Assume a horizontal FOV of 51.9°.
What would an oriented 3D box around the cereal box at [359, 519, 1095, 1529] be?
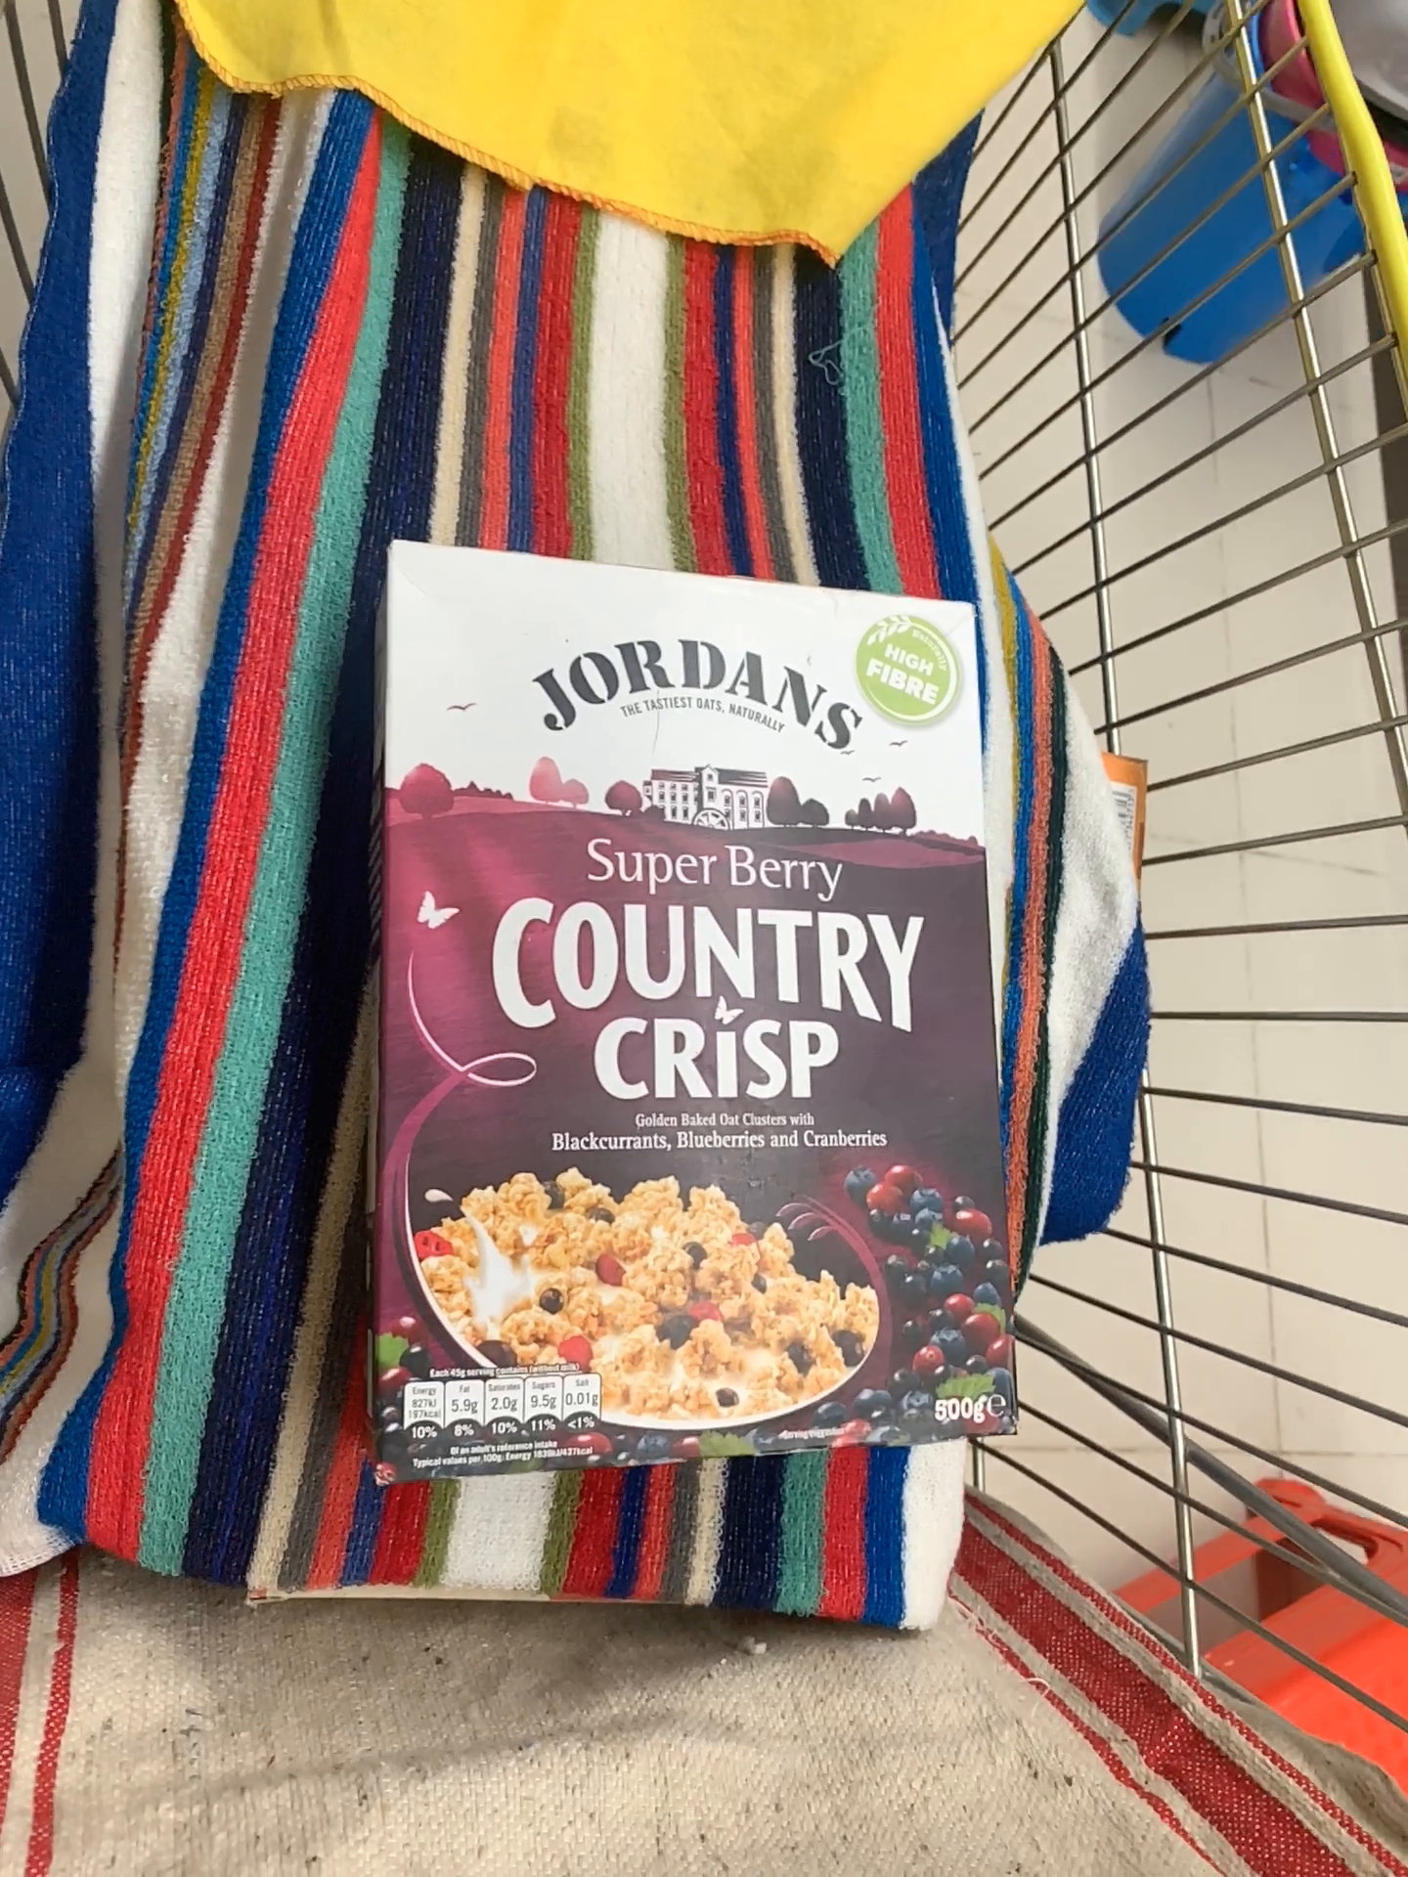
[{"bbox_3d":[0.002,0.020,0.394,0.180,0.060,0.240,1,79,-16],"label":"cereal box"}]
